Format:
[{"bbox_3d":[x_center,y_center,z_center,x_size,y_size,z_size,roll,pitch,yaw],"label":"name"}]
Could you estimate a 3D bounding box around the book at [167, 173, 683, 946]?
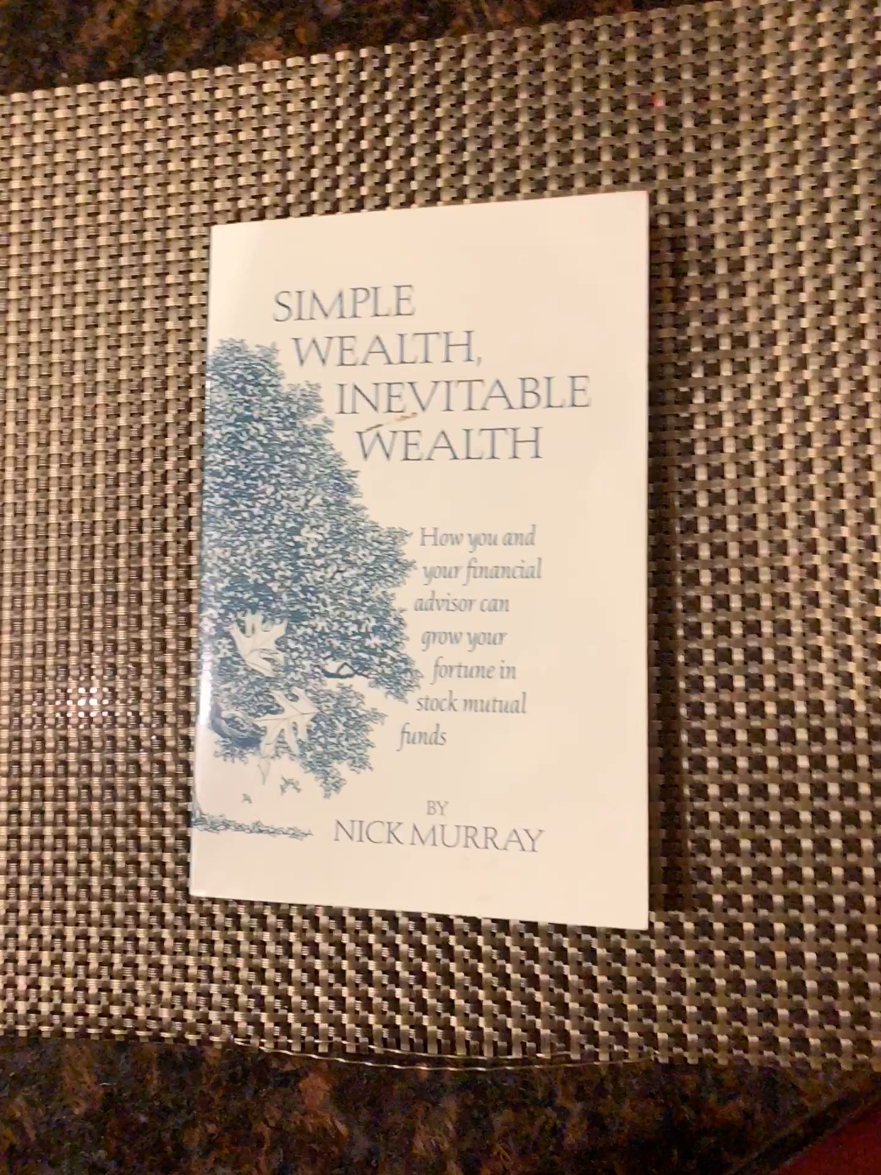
[{"bbox_3d":[-0.005,-0.012,0.272,0.141,0.021,0.210,3,88,12],"label":"book"}]
